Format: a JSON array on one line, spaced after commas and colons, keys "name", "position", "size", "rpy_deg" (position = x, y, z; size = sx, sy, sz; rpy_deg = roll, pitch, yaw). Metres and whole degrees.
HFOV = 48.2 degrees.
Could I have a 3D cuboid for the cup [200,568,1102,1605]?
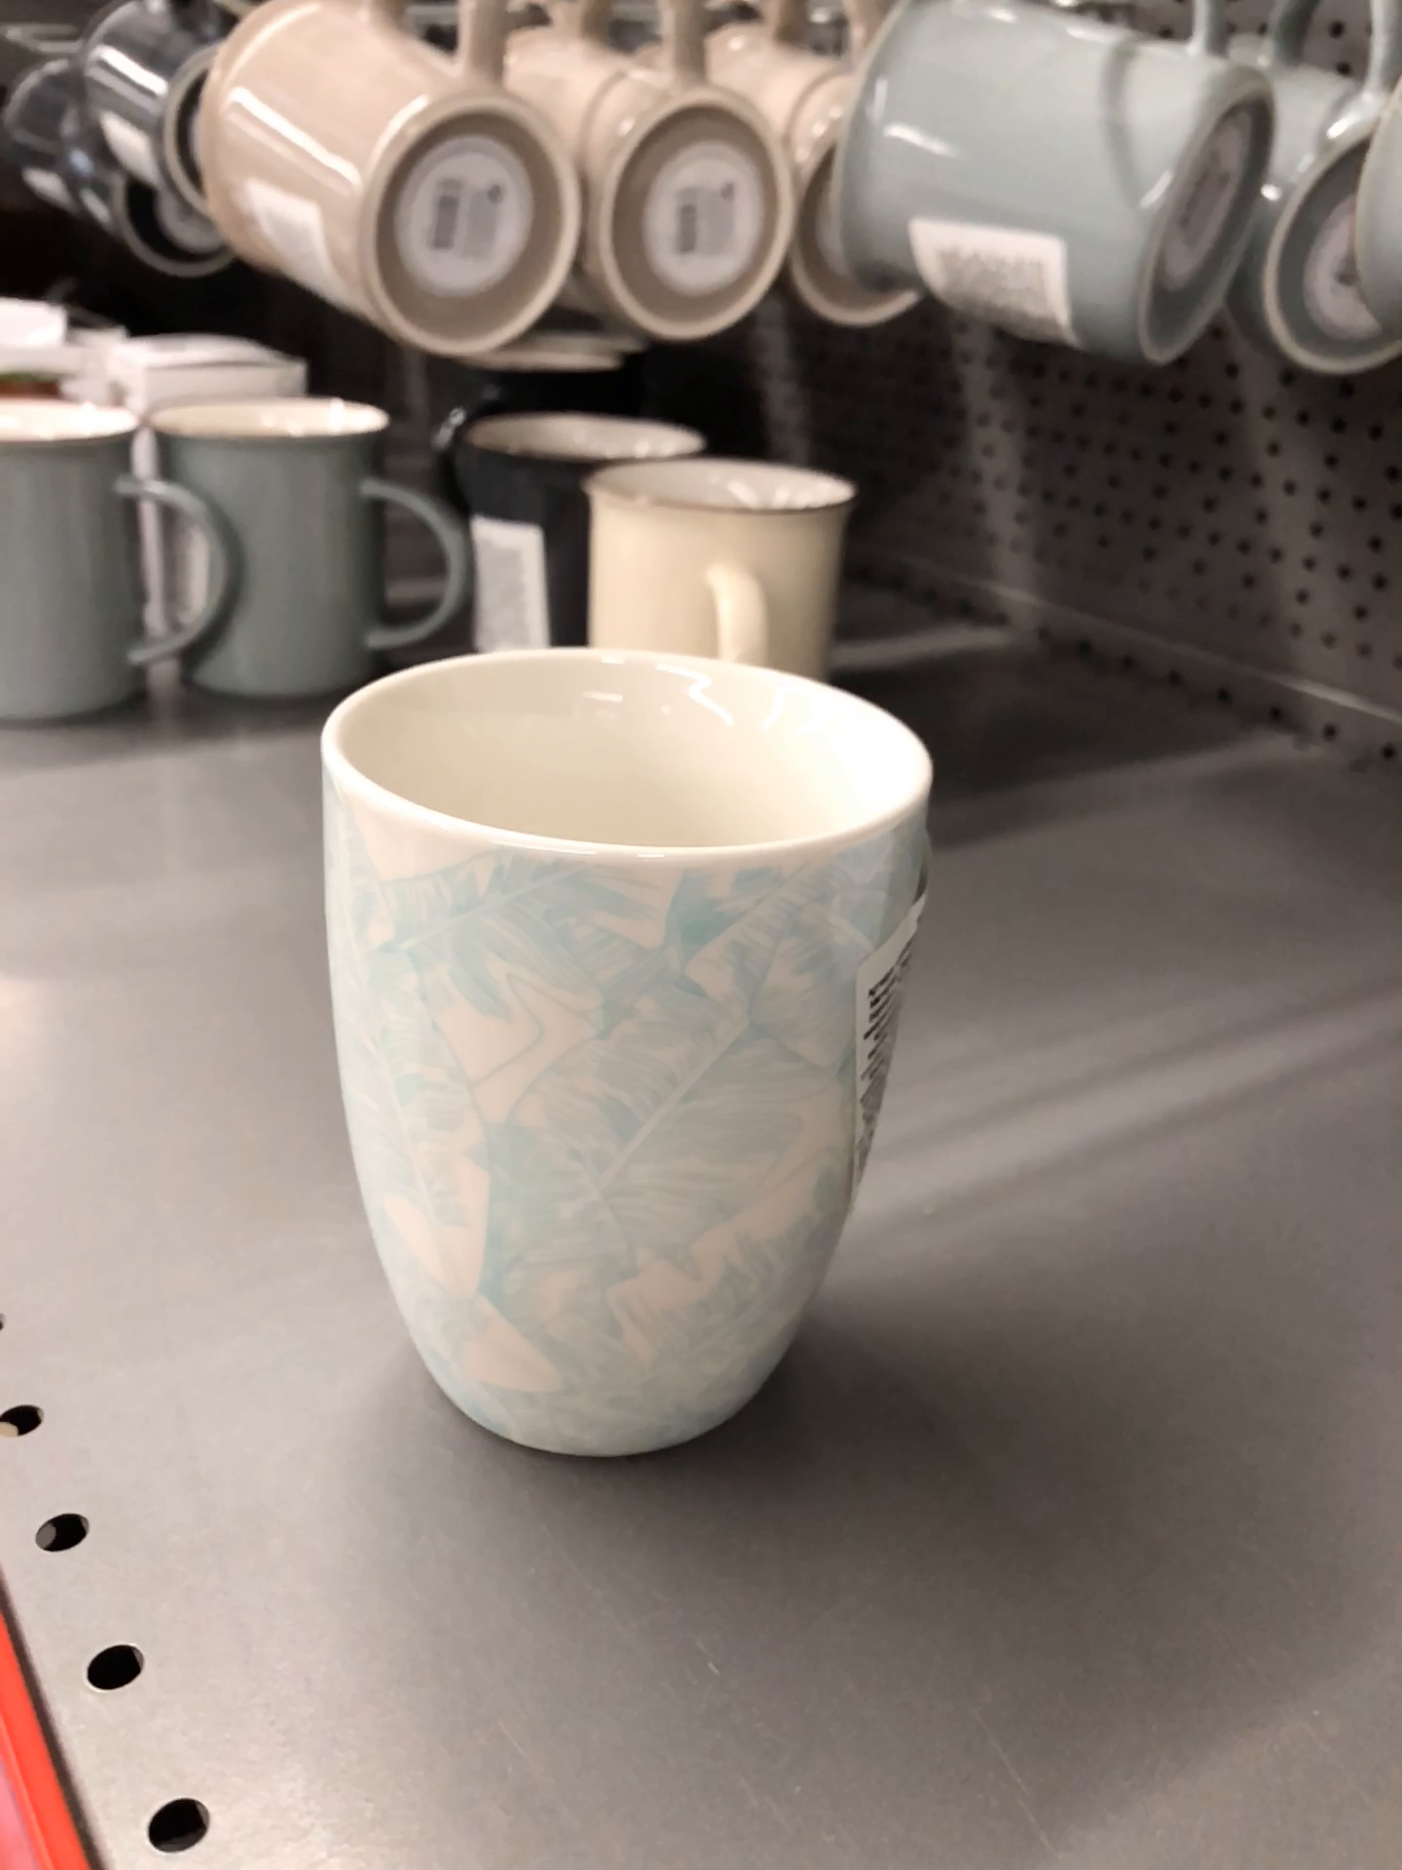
[{"name": "cup", "position": [-0.017, 0.009, 0.246], "size": [0.083, 0.098, 0.121], "rpy_deg": [-13, 30, -26]}]
